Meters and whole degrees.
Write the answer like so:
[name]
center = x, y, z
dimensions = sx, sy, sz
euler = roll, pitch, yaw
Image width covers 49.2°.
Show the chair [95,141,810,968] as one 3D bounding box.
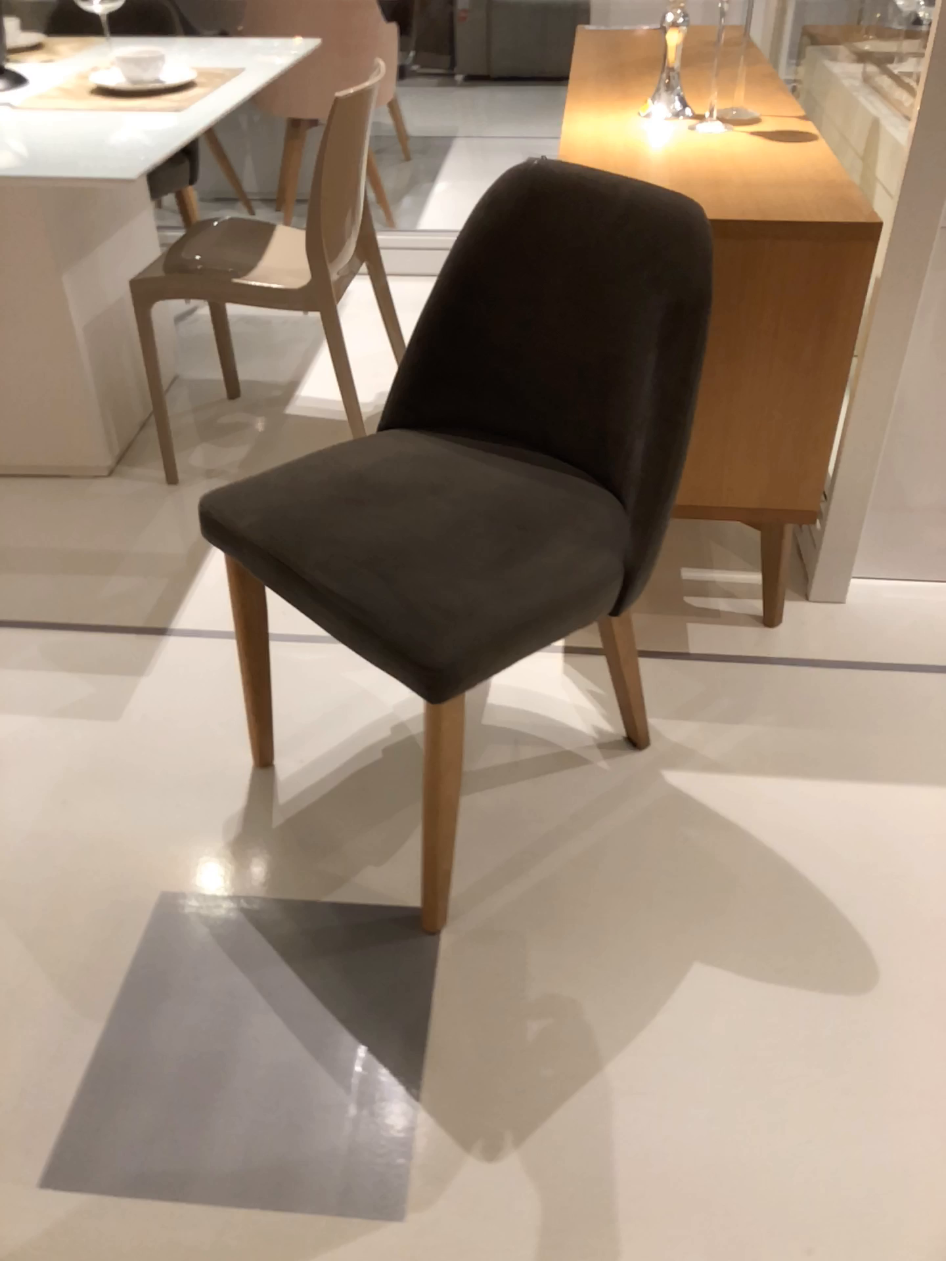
[chair]
center = -0.020, -0.131, 1.342
dimensions = 0.562, 0.774, 0.533
euler = -28, 44, -32
